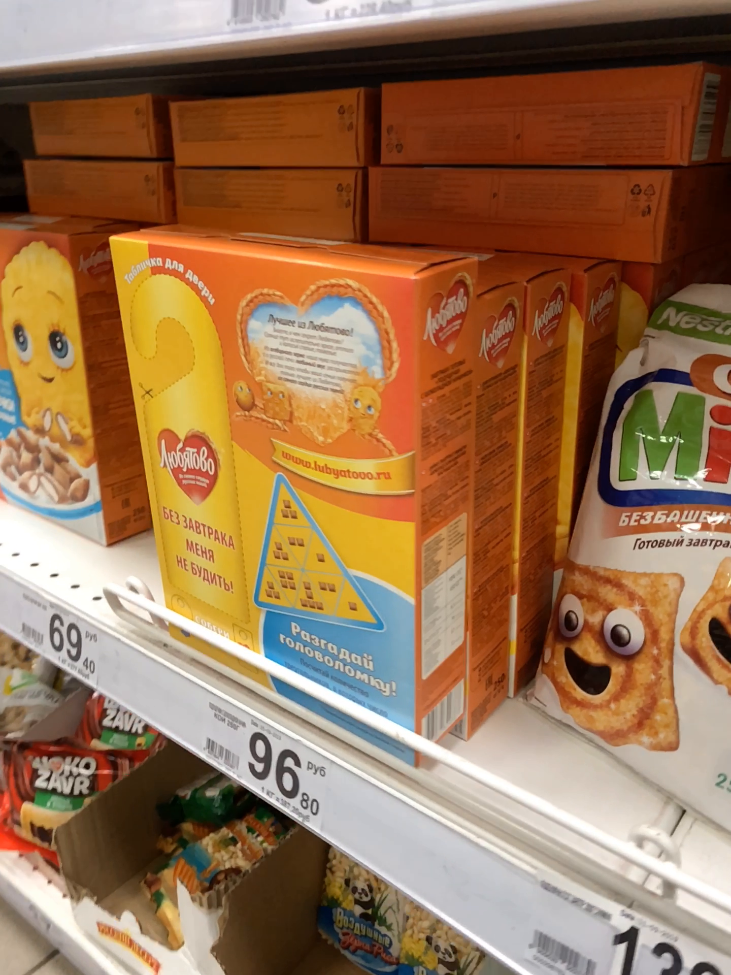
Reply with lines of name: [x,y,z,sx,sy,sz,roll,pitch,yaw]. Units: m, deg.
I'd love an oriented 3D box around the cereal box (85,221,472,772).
cereal box: [-0.042,-0.002,0.394,0.180,0.229,0.050,17,31,34]
